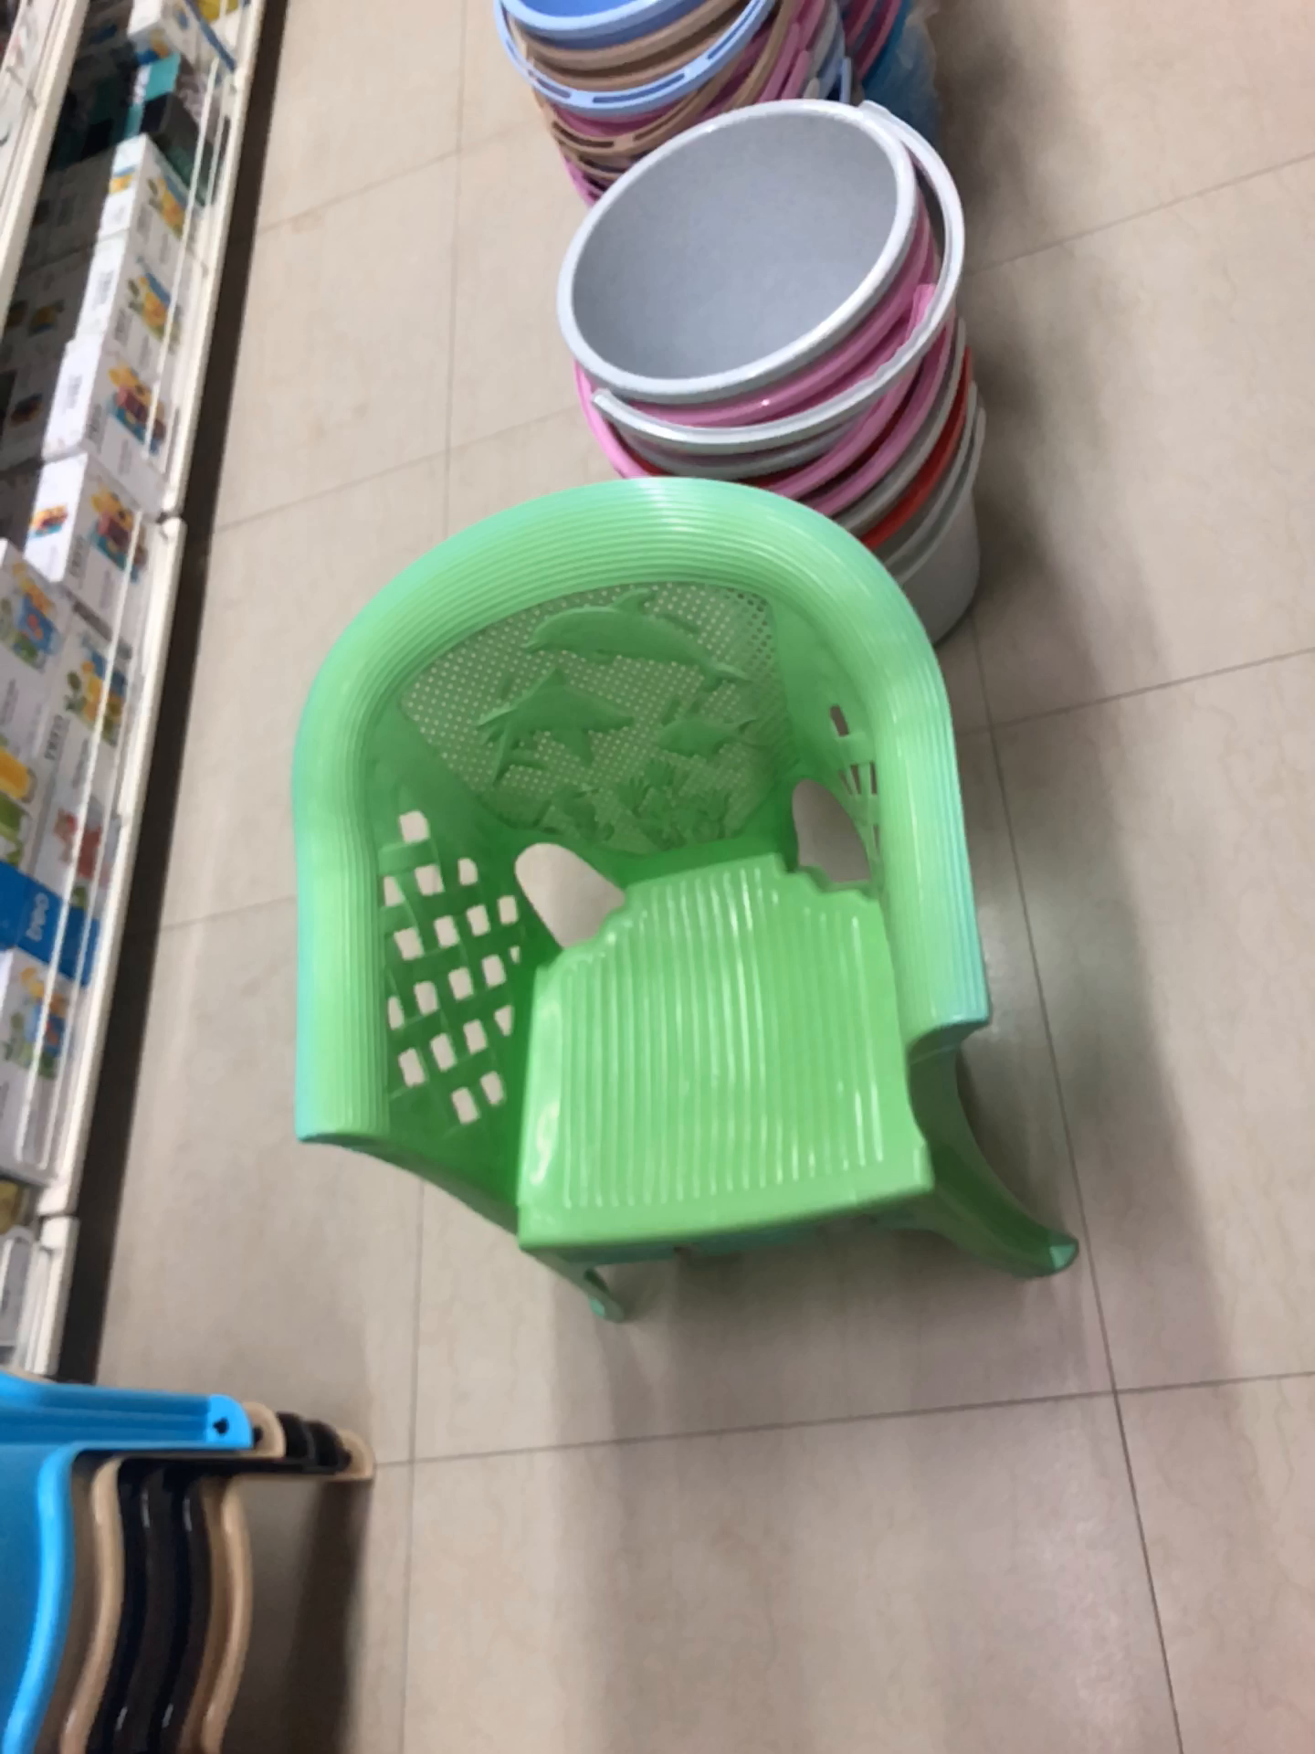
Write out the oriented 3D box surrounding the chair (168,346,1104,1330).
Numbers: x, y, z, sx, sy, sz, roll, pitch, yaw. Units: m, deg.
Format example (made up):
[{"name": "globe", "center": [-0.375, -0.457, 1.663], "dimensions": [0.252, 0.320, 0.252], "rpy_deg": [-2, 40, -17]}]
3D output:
[{"name": "chair", "center": [0.028, 0.021, 0.965], "dimensions": [0.431, 0.398, 0.471], "rpy_deg": [-7, 62, 22]}]
